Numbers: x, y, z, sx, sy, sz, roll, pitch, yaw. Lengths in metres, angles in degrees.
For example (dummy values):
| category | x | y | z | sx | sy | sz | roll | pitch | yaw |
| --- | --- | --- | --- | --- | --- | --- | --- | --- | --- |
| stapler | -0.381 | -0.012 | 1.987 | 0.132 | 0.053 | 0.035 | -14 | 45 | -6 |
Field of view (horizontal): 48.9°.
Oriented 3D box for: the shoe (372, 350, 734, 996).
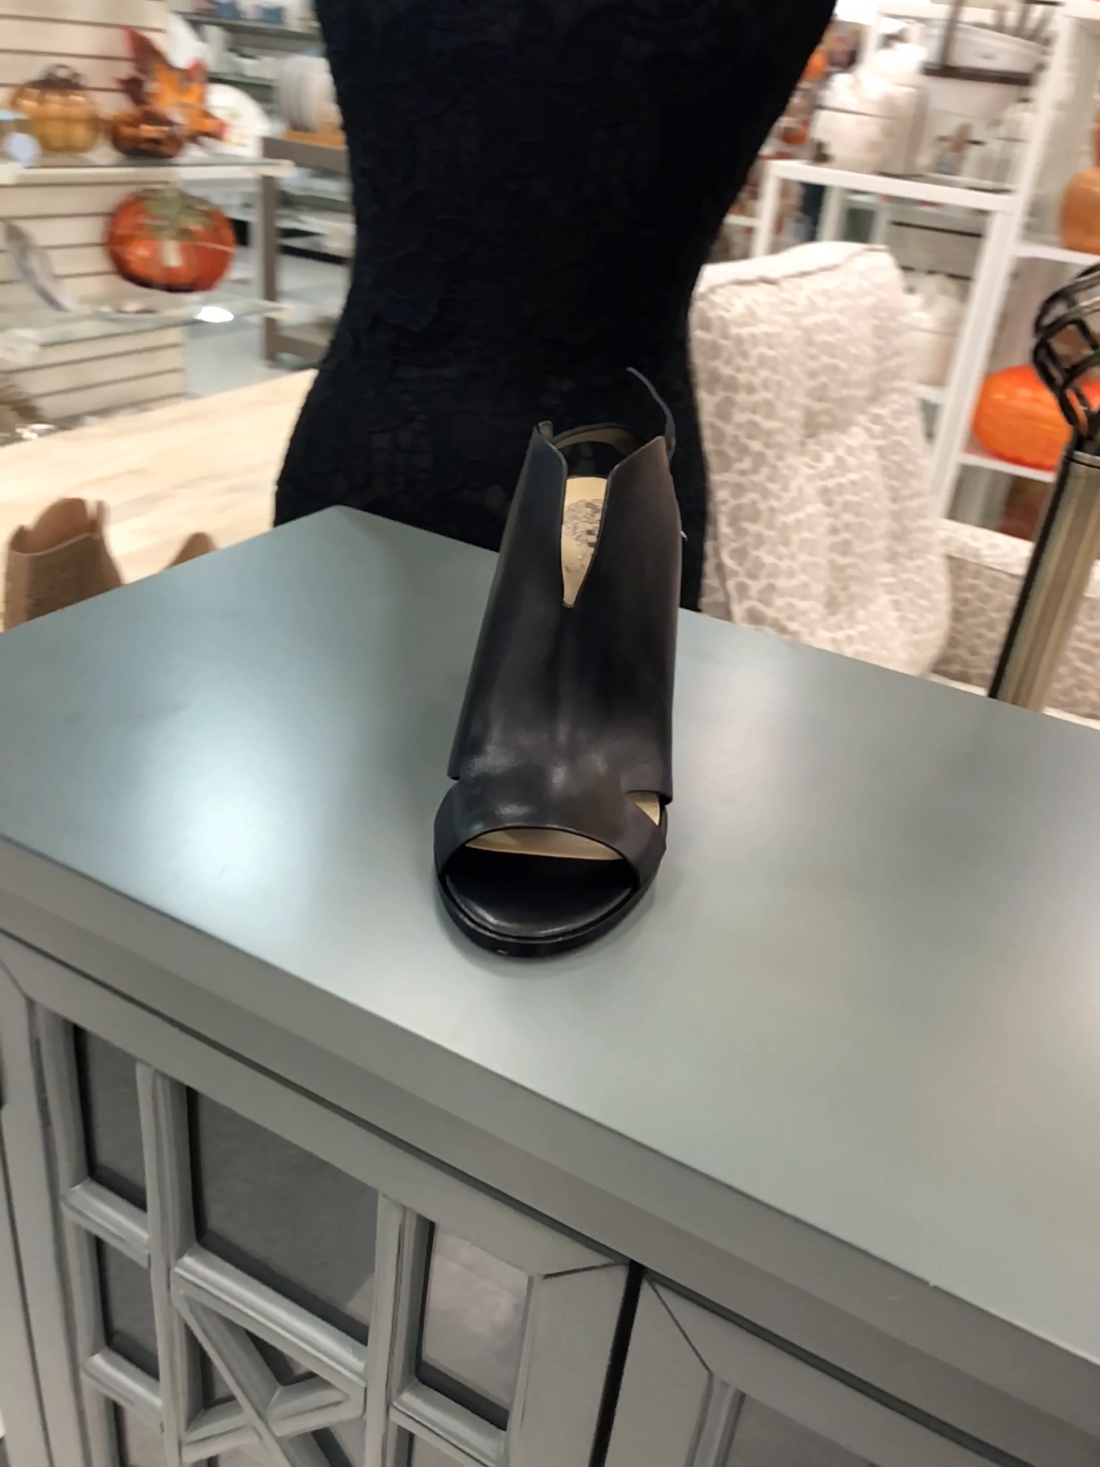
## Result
| category | x | y | z | sx | sy | sz | roll | pitch | yaw |
| --- | --- | --- | --- | --- | --- | --- | --- | --- | --- |
| shoe | 0.011 | -0.043 | 0.468 | 0.091 | 0.151 | 0.241 | 9 | 28 | 5 |
